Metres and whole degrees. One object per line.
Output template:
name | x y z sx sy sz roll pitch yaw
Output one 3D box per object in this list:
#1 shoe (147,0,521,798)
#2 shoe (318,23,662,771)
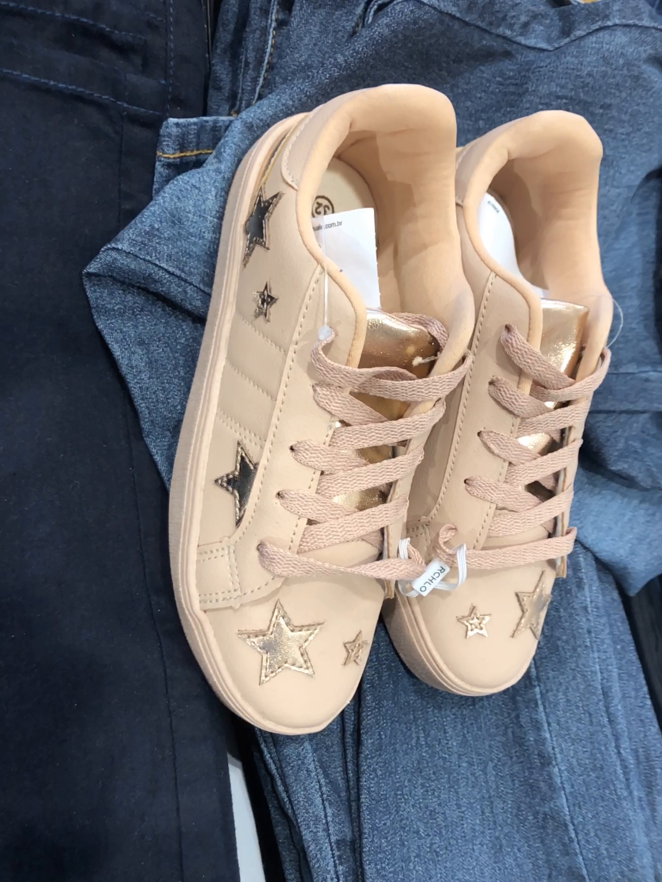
shoe | -0.004 -0.019 0.273 0.090 0.090 0.250 6 87 -21
shoe | 0.057 -0.016 0.302 0.090 0.090 0.250 0 84 -22
